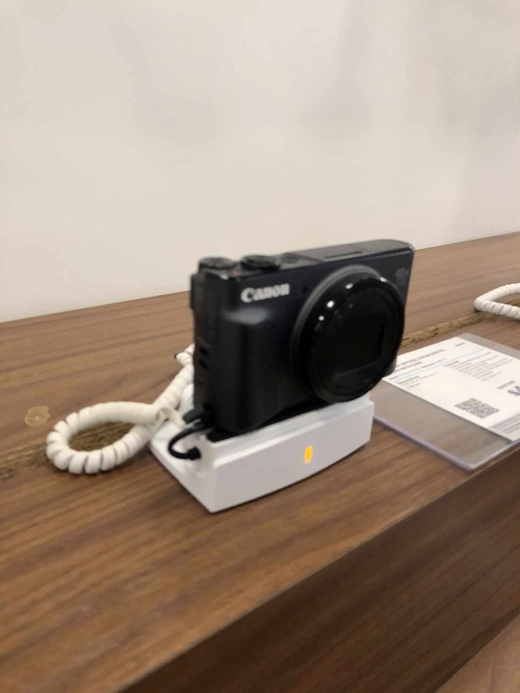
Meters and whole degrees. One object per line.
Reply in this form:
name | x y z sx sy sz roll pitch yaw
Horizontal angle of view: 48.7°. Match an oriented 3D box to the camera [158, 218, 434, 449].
camera | 0.019 -0.012 0.241 0.120 0.070 0.030 -14 26 -36
